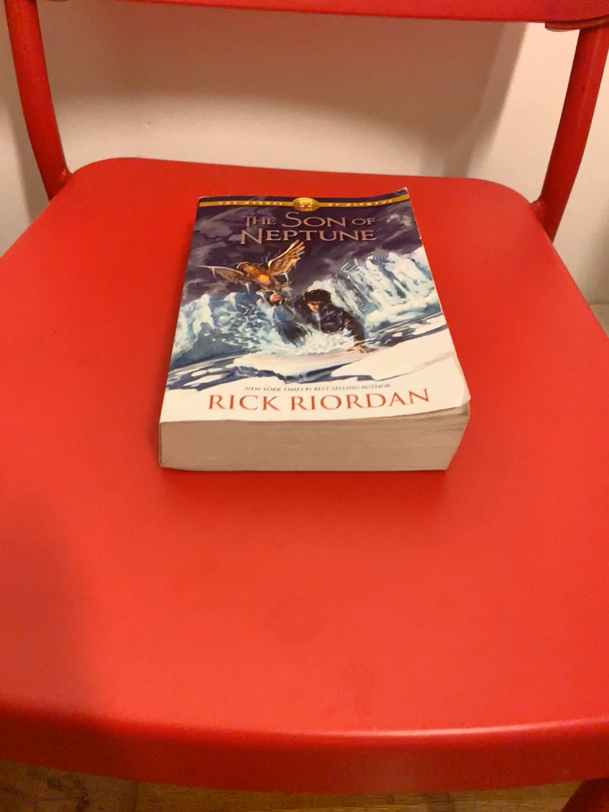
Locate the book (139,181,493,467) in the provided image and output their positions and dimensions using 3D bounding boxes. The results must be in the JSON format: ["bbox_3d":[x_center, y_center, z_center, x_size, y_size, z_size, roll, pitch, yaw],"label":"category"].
[{"bbox_3d":[0.002,-0.055,0.333,0.142,0.040,0.189,1,45,-3],"label":"book"}]
